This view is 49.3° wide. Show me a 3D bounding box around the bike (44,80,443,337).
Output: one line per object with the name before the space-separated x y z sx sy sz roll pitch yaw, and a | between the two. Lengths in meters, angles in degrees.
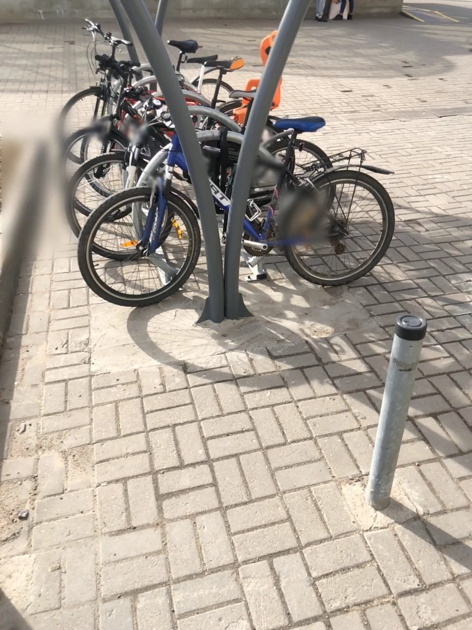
bike | 0.047 -0.578 2.571 1.659 0.959 0.630 -8 36 -14
